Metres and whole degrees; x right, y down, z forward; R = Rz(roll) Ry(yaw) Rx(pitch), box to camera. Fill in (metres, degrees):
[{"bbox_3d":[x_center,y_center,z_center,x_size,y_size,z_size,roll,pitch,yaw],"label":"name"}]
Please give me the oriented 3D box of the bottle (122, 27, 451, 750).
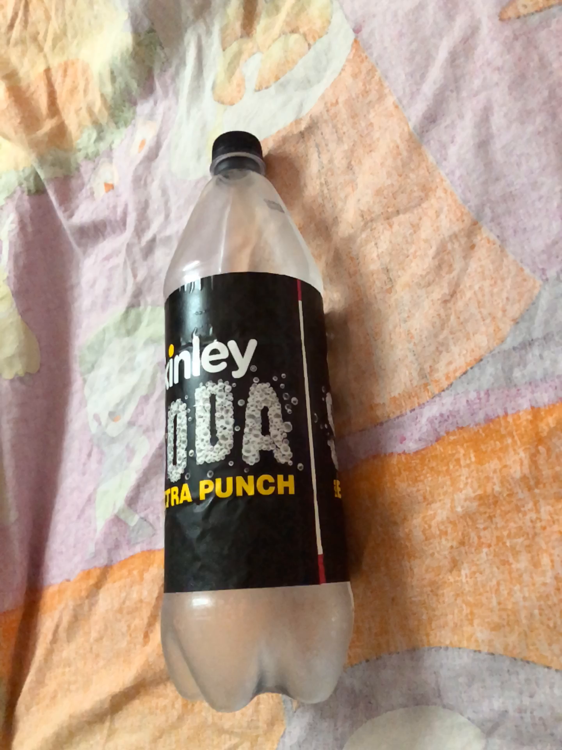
[{"bbox_3d":[-0.004,0.001,0.289,0.090,0.080,0.280,-16,73,32],"label":"bottle"}]
